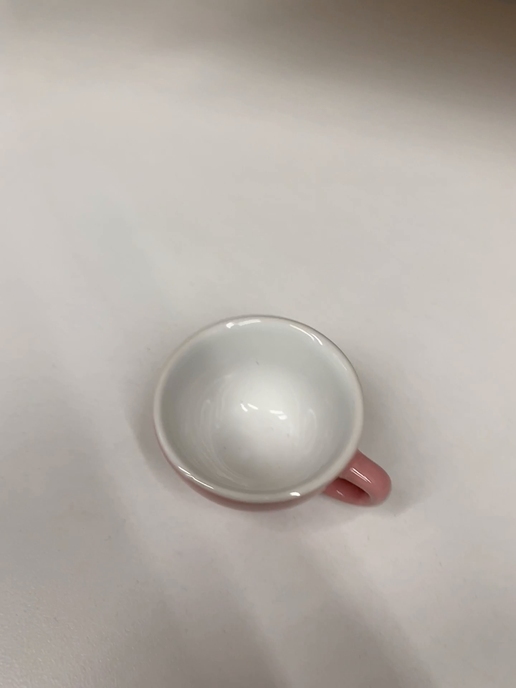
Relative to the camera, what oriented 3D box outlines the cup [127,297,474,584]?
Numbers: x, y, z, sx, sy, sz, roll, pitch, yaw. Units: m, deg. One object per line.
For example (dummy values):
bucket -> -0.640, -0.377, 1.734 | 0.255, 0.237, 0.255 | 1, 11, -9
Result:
cup -> 0.011, 0.024, 0.140 | 0.070, 0.040, 0.040 | 17, 56, 10
